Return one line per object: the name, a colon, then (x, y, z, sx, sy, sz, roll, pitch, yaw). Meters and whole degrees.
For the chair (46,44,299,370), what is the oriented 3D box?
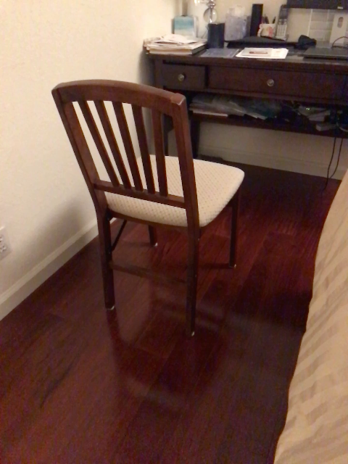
chair: (0.060, -0.149, 1.405, 0.530, 0.893, 0.725, 14, 35, 20)
